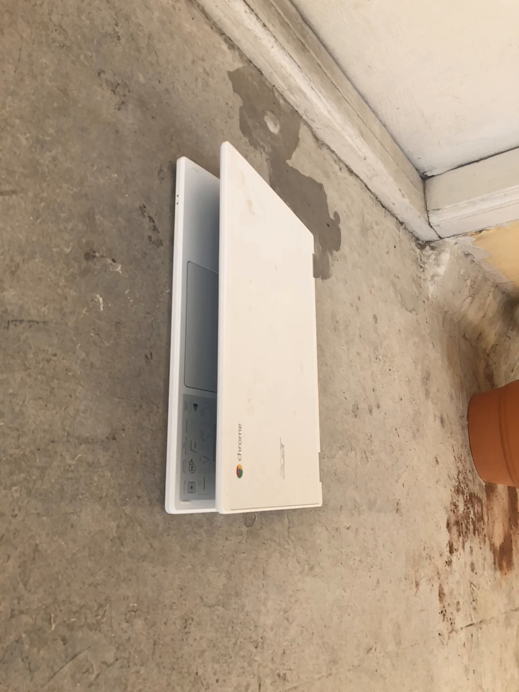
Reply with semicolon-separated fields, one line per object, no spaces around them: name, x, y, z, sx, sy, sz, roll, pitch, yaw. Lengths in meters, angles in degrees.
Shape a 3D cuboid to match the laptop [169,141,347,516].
laptop;0.008;-0.001;0.495;0.190;0.046;0.278;21;64;-54
